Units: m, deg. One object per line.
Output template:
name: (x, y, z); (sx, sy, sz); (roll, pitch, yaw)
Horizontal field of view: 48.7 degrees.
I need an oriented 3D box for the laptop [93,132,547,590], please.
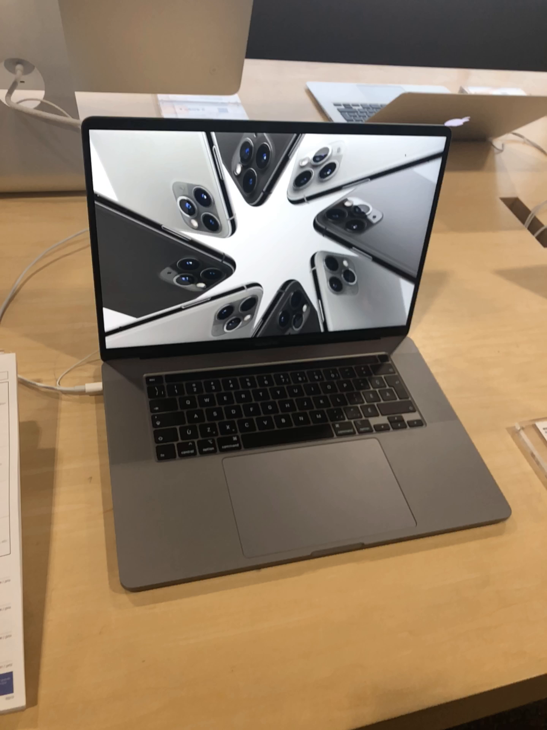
laptop: (0.034, -0.028, 0.527); (0.344, 0.227, 0.292); (-6, 47, -16)
